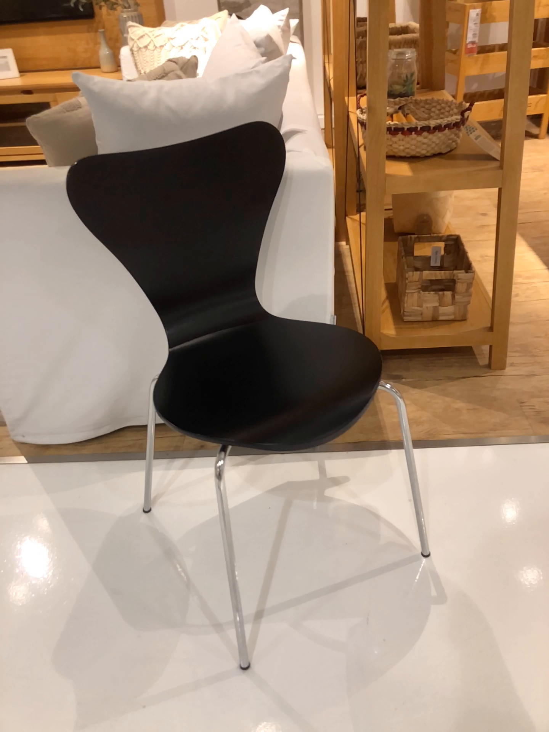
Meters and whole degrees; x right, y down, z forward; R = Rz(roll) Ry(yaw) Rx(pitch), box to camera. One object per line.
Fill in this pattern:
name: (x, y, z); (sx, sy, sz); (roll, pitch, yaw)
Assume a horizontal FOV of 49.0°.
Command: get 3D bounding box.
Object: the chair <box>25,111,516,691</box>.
chair: (-0.017, 0.022, 1.130); (0.541, 0.774, 0.553); (-22, 38, -23)
